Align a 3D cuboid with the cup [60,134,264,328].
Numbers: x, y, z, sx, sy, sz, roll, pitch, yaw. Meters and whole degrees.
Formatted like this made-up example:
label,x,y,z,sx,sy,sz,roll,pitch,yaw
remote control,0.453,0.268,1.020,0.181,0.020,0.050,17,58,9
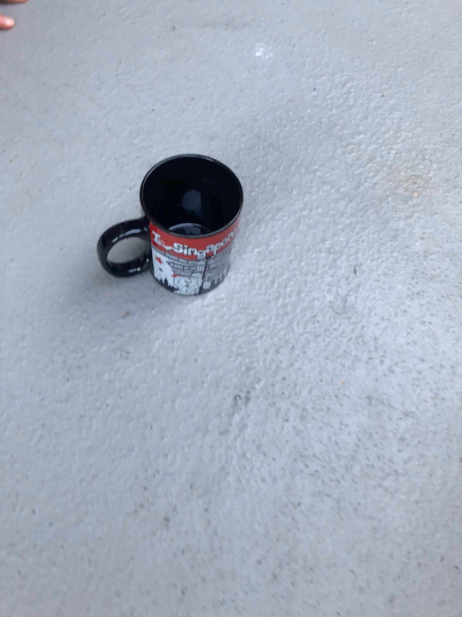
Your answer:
label,x,y,z,sx,sy,sz,roll,pitch,yaw
cup,-0.056,-0.061,0.426,0.130,0.110,0.080,-18,66,-15
